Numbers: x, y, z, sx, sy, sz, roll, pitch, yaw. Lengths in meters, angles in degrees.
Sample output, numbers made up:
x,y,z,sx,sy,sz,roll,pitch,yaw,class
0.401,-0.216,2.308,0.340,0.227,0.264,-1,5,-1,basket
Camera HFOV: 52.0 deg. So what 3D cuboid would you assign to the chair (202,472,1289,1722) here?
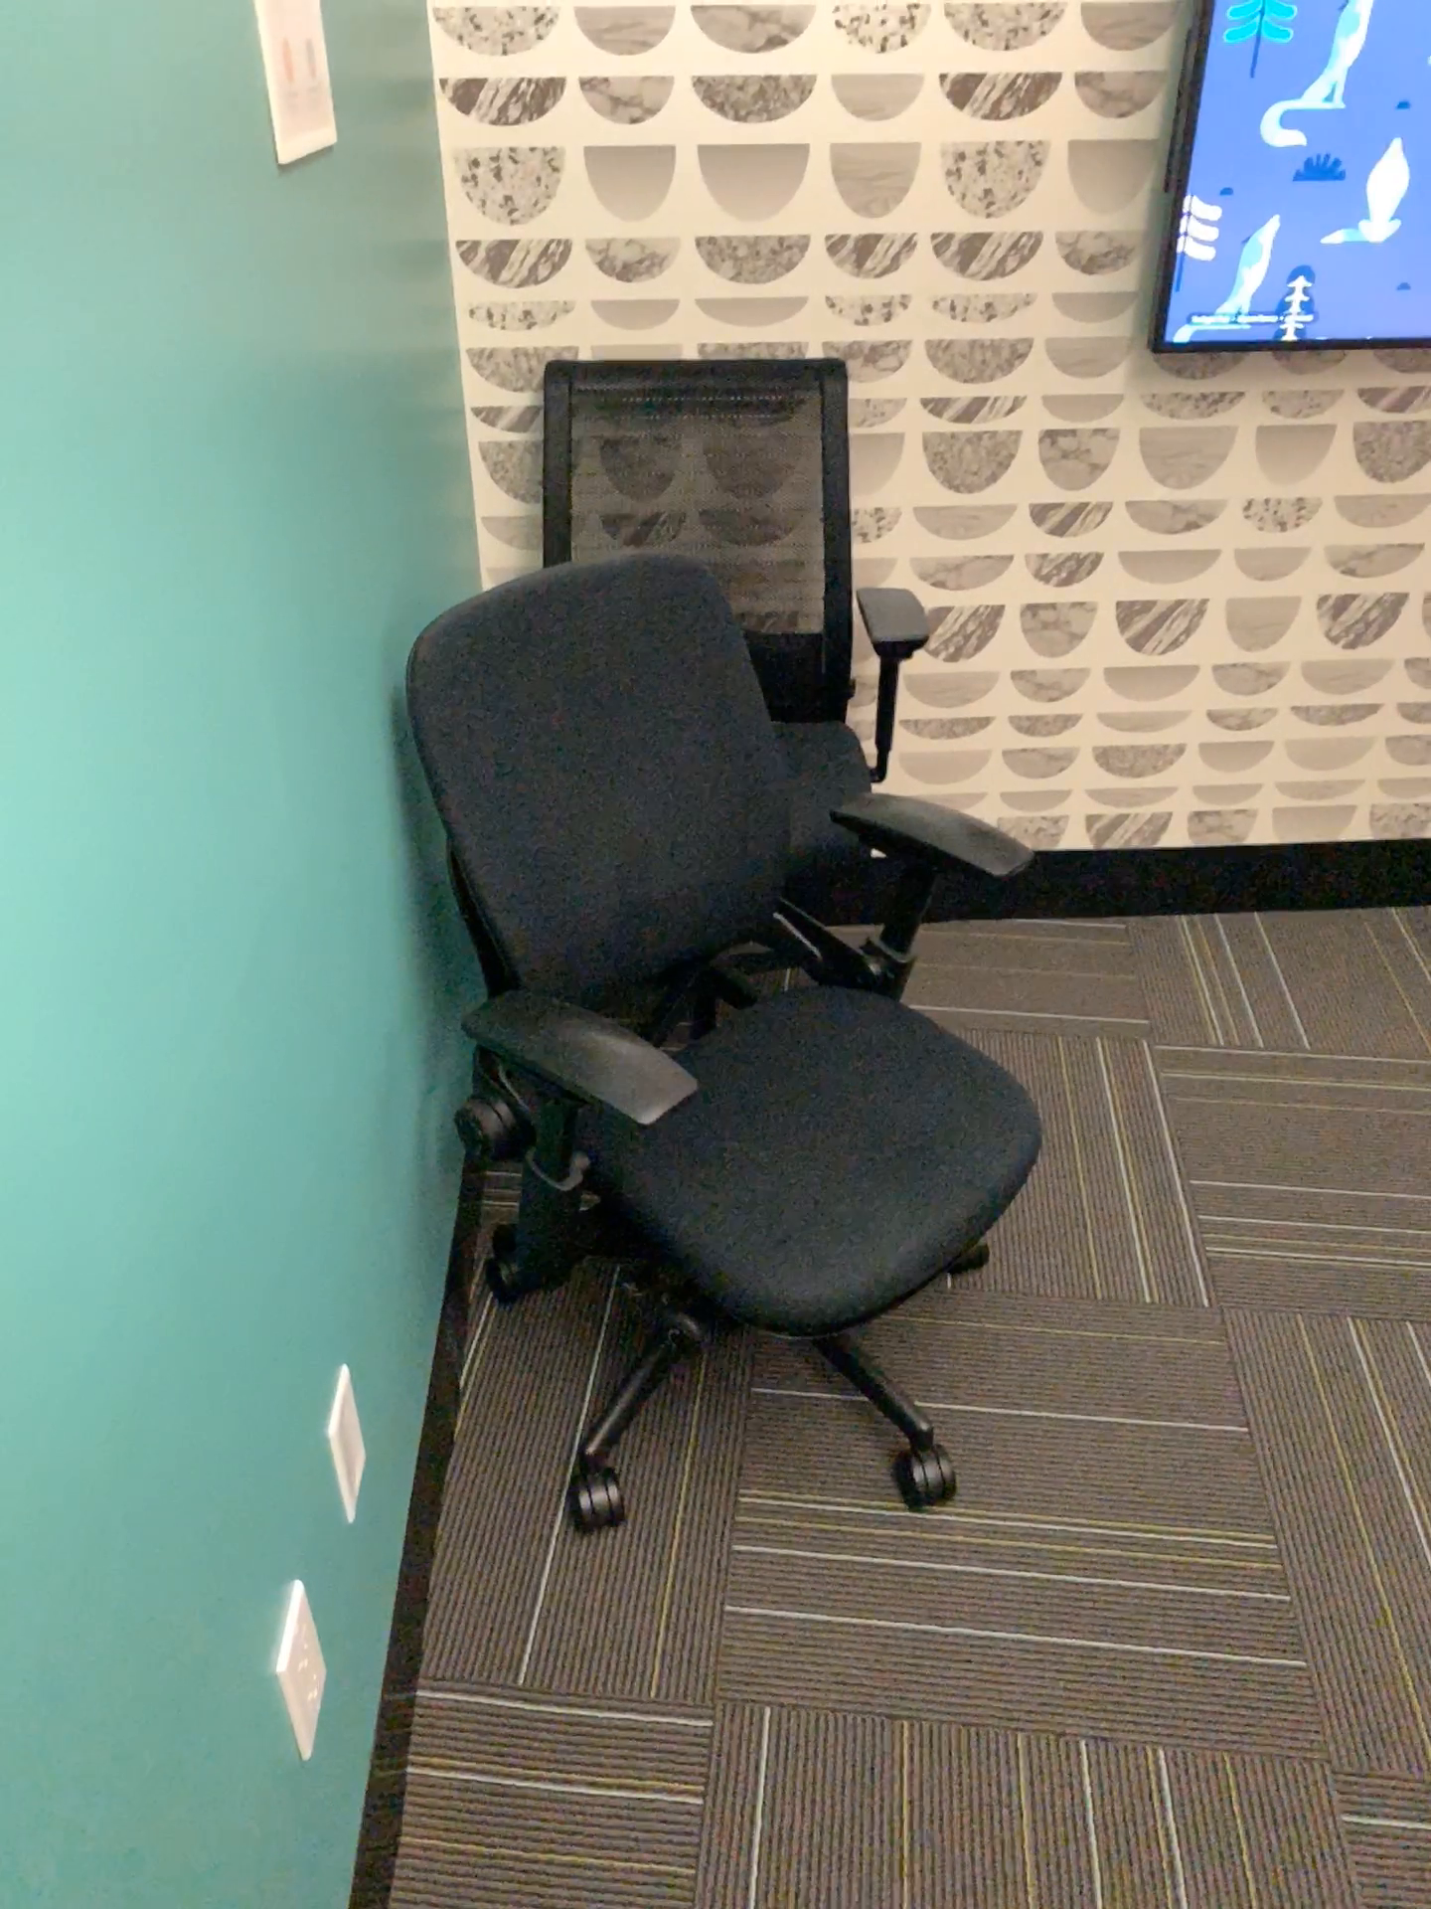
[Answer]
x,y,z,sx,sy,sz,roll,pitch,yaw,class
0.023,0.080,1.617,0.773,0.944,0.662,27,41,37,chair
